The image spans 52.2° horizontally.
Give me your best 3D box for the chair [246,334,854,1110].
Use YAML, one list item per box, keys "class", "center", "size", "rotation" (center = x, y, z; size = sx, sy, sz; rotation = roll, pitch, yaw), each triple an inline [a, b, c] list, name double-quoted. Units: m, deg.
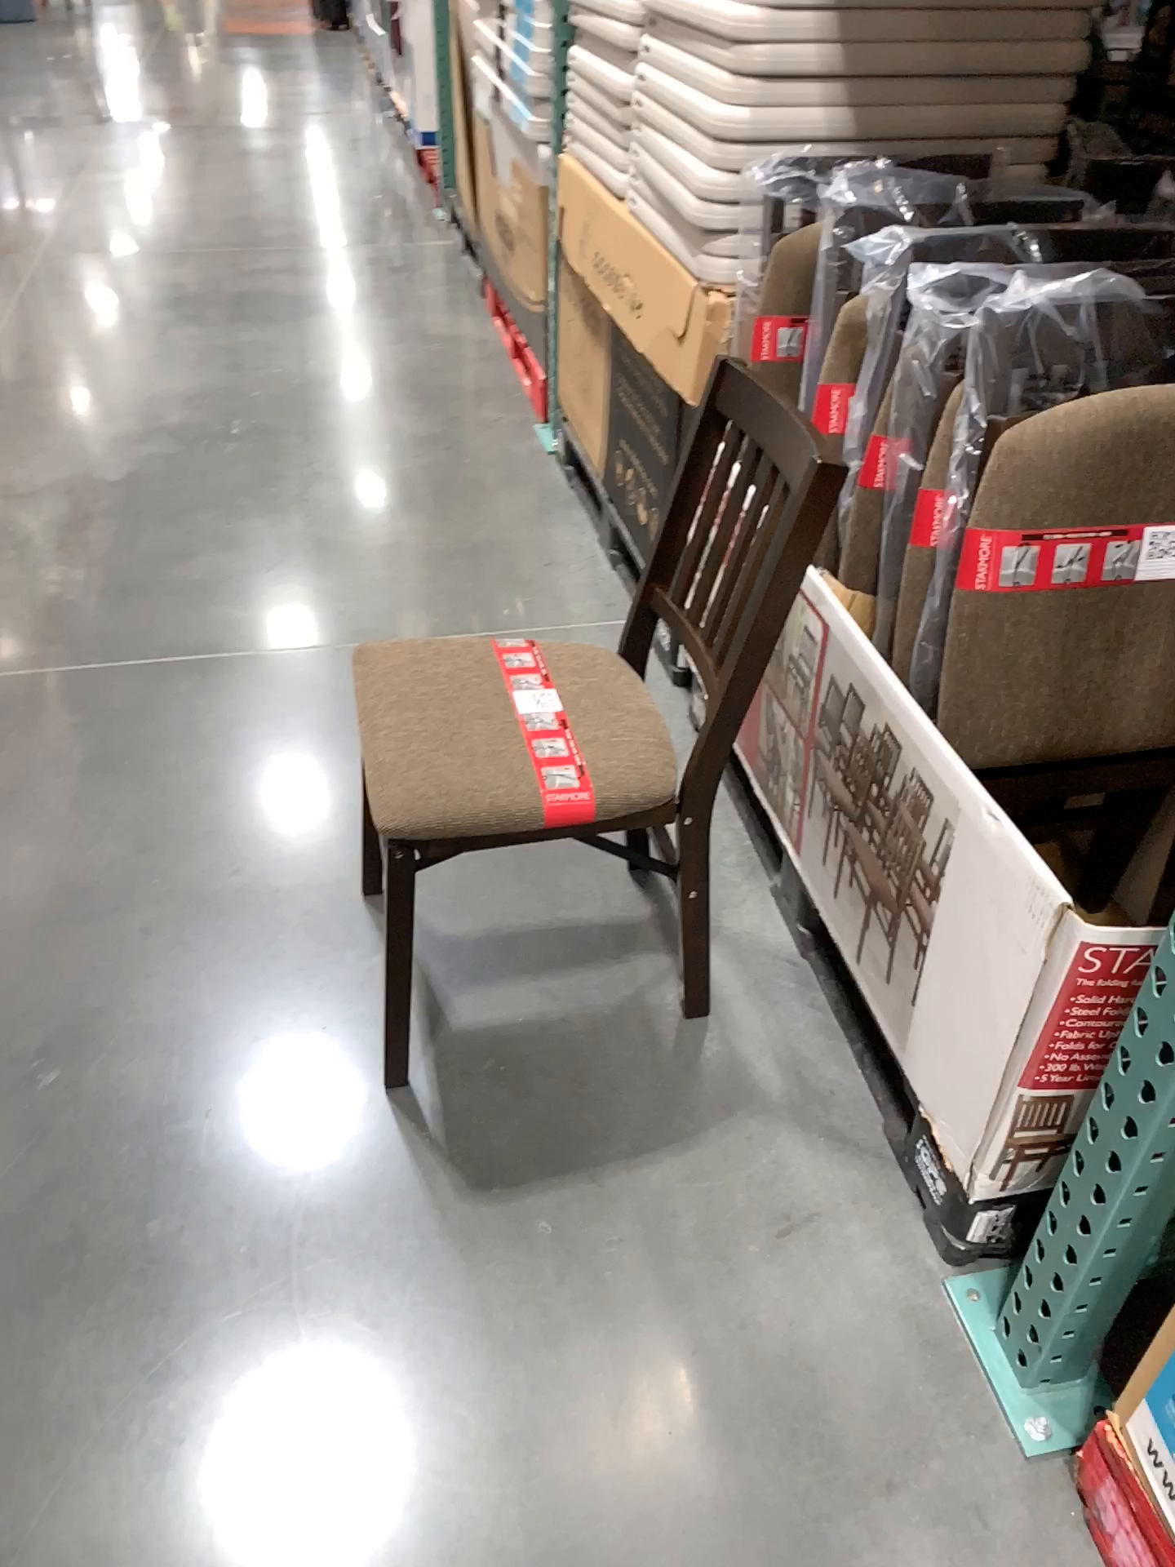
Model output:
- class: "chair"
  center: [-0.076, -0.068, 1.539]
  size: [0.571, 0.837, 0.423]
  rotation: [-8, 38, -12]
